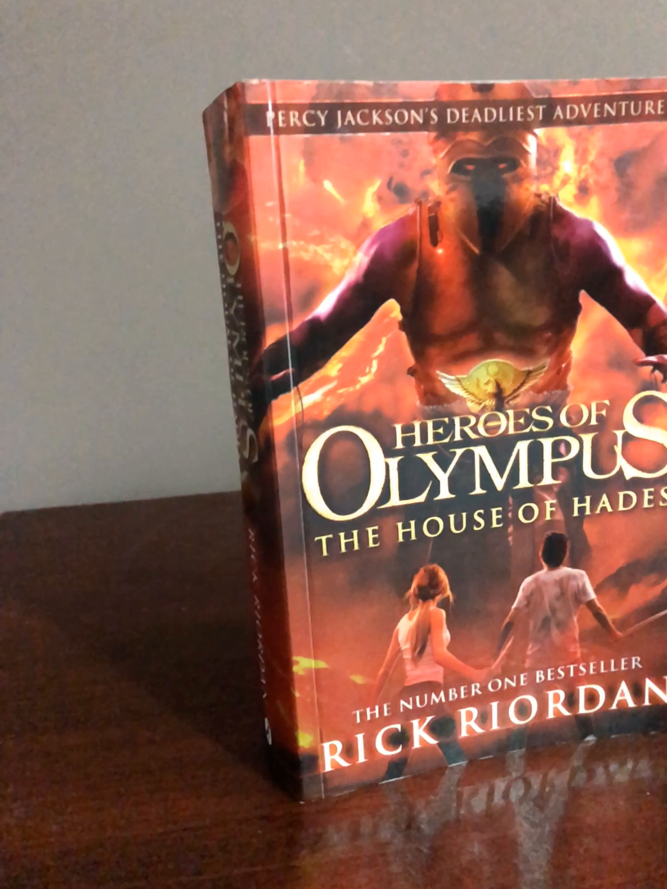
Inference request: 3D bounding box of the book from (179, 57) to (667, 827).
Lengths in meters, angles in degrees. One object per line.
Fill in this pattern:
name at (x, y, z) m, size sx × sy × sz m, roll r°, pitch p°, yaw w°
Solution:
book at (0.035, -0.003, 0.231) m, size 0.140 × 0.199 × 0.060 m, roll -7°, pitch 15°, yaw -14°
